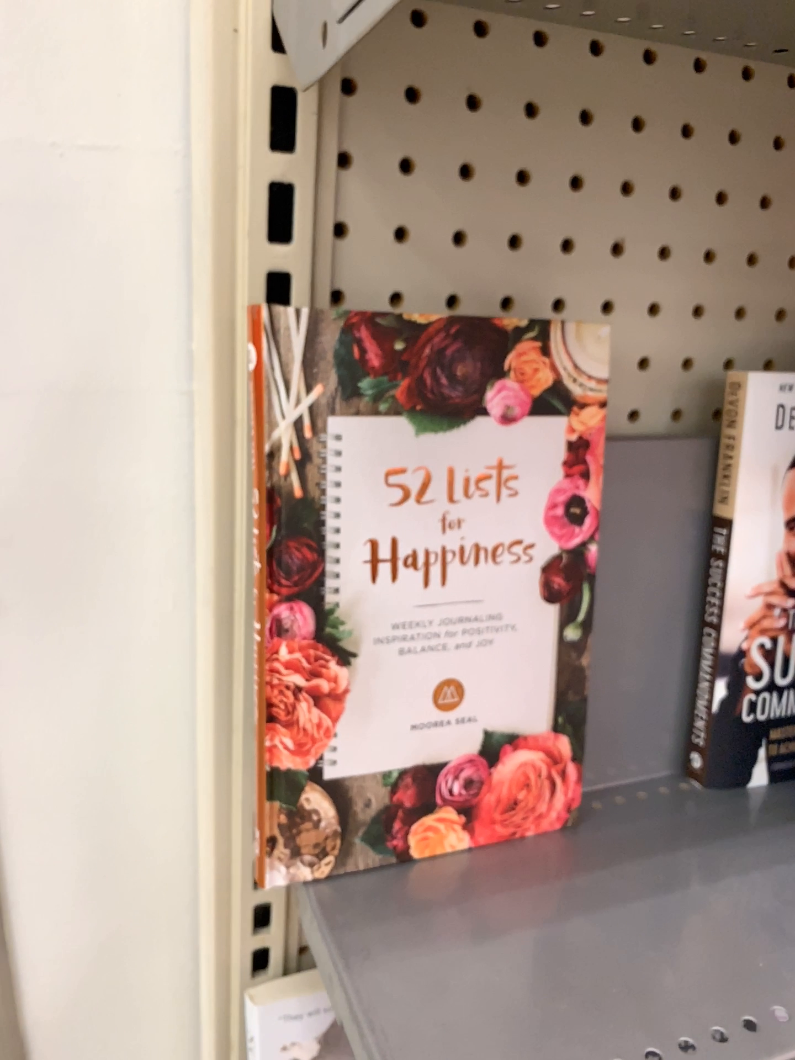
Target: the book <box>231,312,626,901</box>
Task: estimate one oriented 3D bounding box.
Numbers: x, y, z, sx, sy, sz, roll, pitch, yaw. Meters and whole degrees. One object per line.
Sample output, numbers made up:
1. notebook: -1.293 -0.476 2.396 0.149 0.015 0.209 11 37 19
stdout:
1. book: 0.015 0.028 0.329 0.150 0.216 0.020 -3 11 -19
